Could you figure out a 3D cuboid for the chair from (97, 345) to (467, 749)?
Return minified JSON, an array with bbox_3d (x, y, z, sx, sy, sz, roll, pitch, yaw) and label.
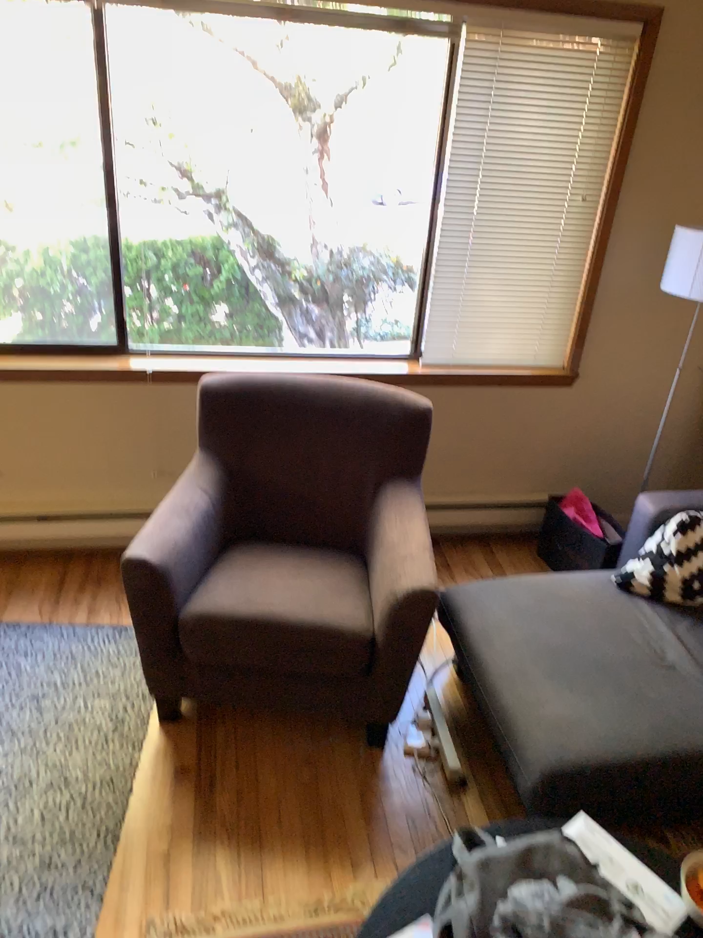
[{"bbox_3d":[-0.177,0.188,2.238,0.880,0.875,0.804,6,25,1],"label":"chair"}]
